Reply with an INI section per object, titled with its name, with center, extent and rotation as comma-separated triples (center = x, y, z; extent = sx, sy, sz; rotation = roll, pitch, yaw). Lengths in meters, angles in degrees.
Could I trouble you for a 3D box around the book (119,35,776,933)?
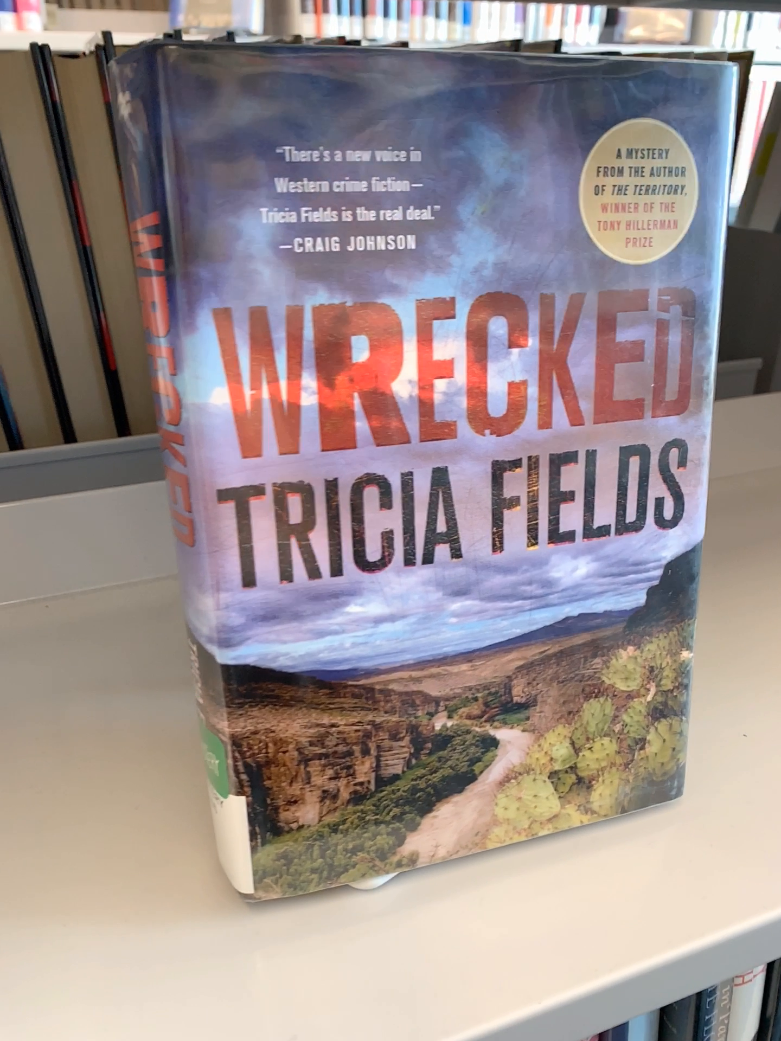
[book]
center = 0.020, -0.005, 0.221
extent = 0.150, 0.213, 0.034
rotation = -8, 18, -15
